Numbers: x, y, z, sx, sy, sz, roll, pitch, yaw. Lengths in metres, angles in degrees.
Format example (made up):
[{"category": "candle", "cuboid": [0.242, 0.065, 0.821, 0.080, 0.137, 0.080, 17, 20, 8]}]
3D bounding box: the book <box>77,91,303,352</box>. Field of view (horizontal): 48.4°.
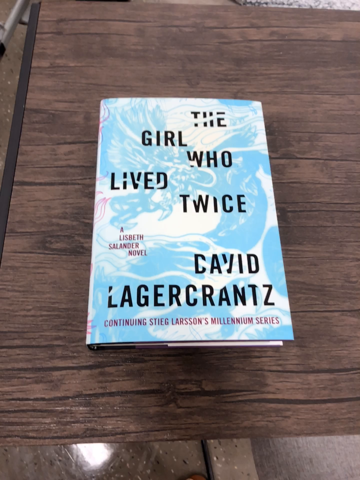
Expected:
[{"category": "book", "cuboid": [0.005, -0.026, 0.365, 0.170, 0.040, 0.240, 0, 67, -3]}]
